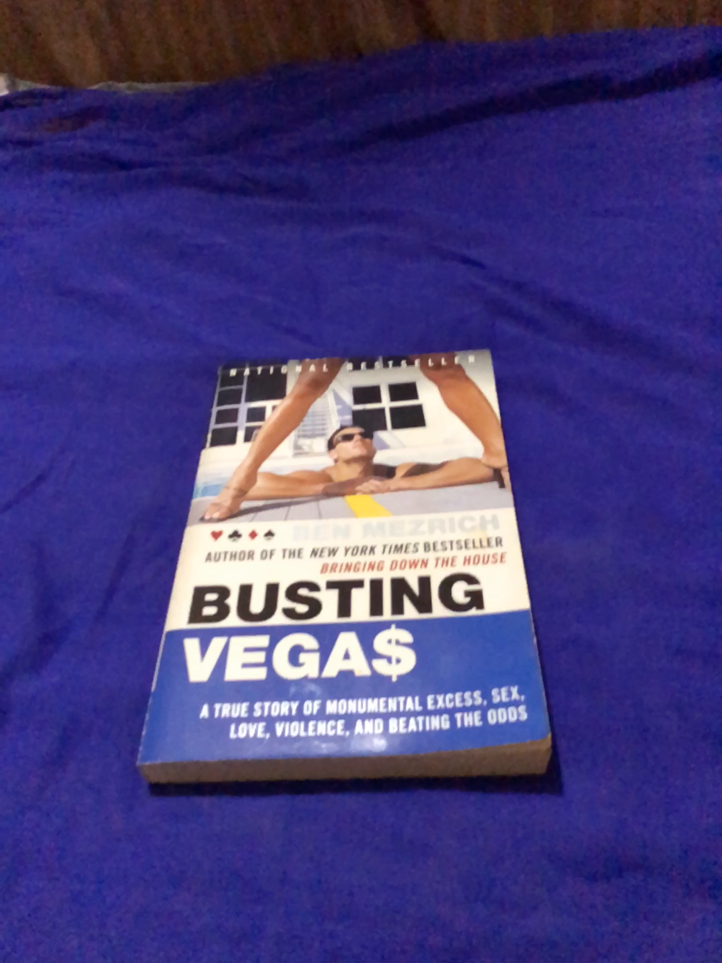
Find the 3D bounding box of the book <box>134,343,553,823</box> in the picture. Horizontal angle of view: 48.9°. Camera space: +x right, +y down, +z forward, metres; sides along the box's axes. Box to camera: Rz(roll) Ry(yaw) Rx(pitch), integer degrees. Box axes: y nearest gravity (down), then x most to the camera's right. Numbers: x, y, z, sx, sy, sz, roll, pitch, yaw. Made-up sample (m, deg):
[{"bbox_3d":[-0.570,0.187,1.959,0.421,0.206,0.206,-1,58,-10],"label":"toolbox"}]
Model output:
[{"bbox_3d":[-0.004,0.026,0.332,0.130,0.040,0.211,-3,47,4],"label":"book"}]
